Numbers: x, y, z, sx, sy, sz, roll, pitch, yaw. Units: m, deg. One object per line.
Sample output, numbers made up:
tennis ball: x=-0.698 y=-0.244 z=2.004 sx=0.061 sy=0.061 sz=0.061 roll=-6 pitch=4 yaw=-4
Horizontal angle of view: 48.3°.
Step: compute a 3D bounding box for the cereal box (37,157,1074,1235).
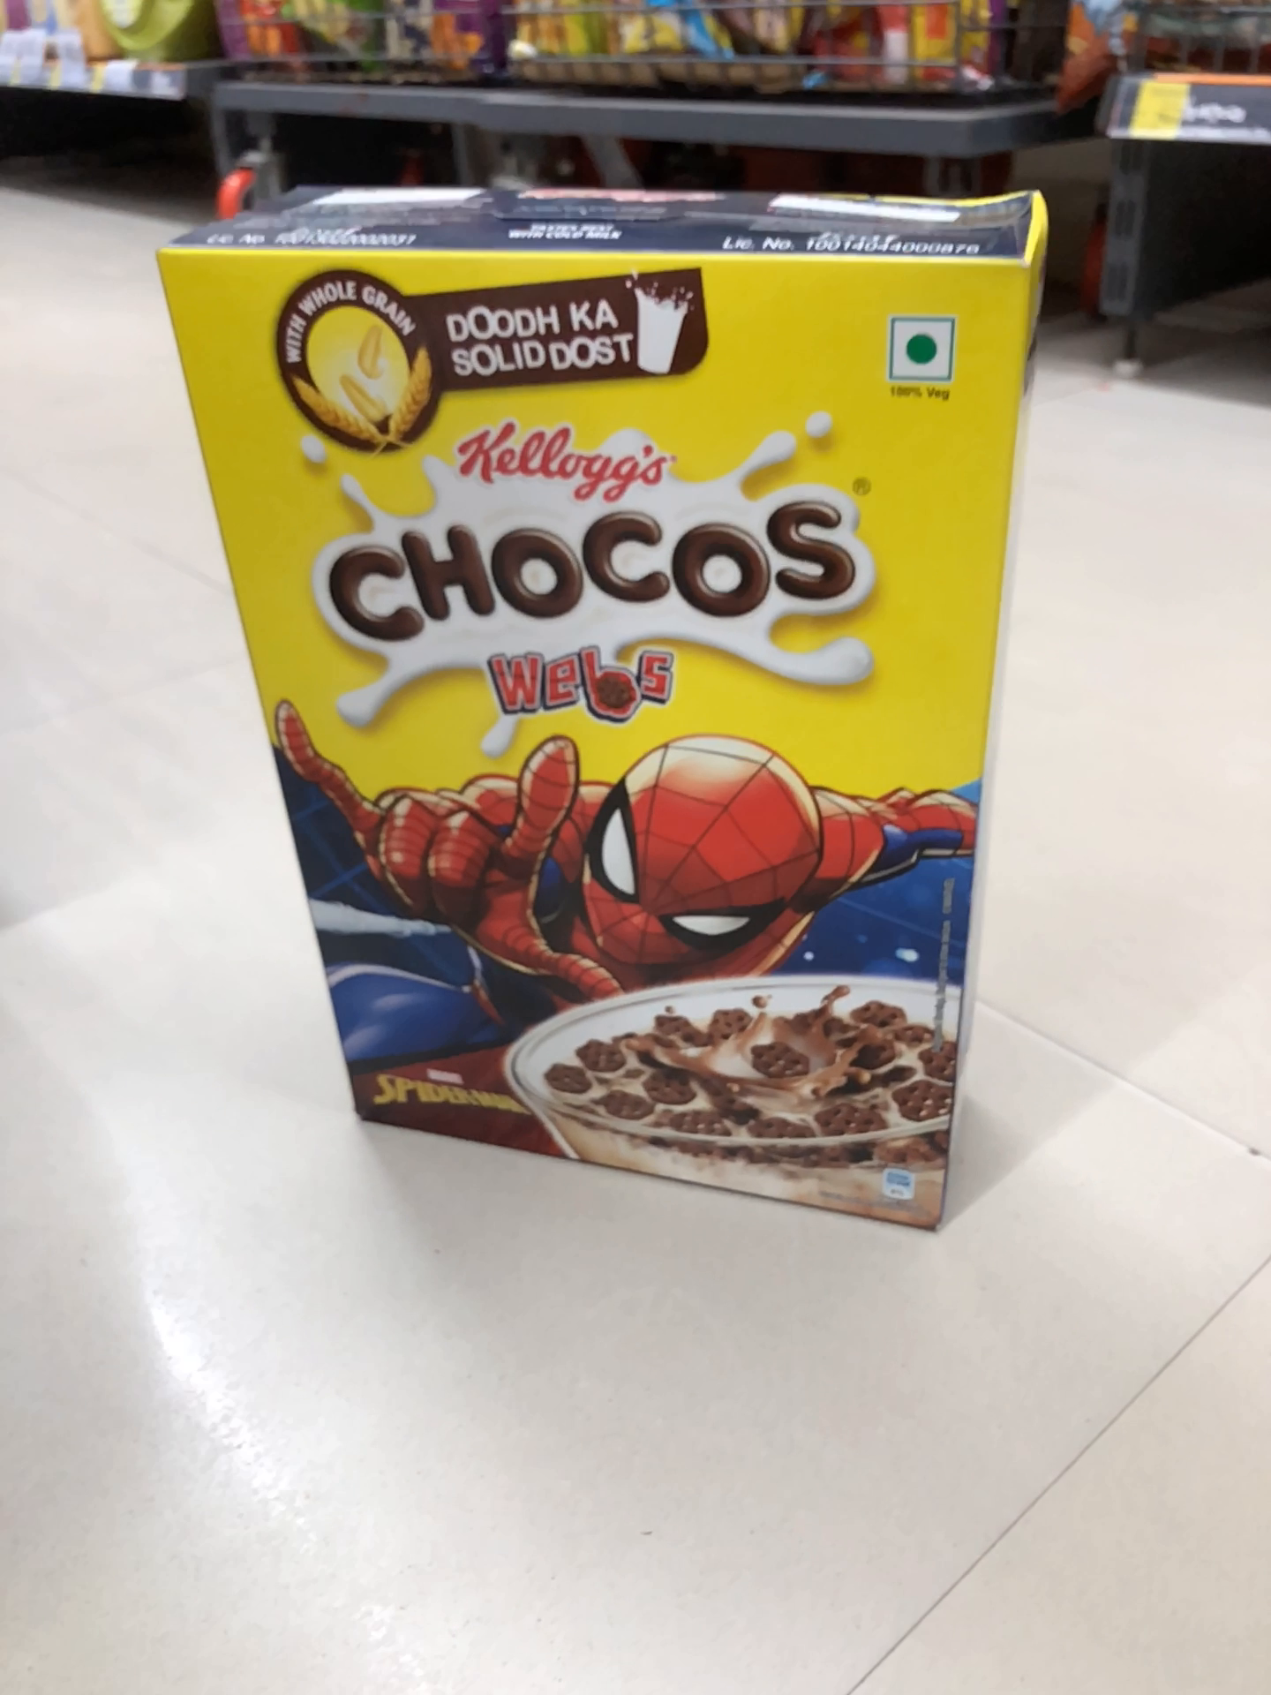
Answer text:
cereal box: x=-0.008 y=-0.034 z=0.344 sx=0.190 sy=0.229 sz=0.080 roll=8 pitch=35 yaw=17
